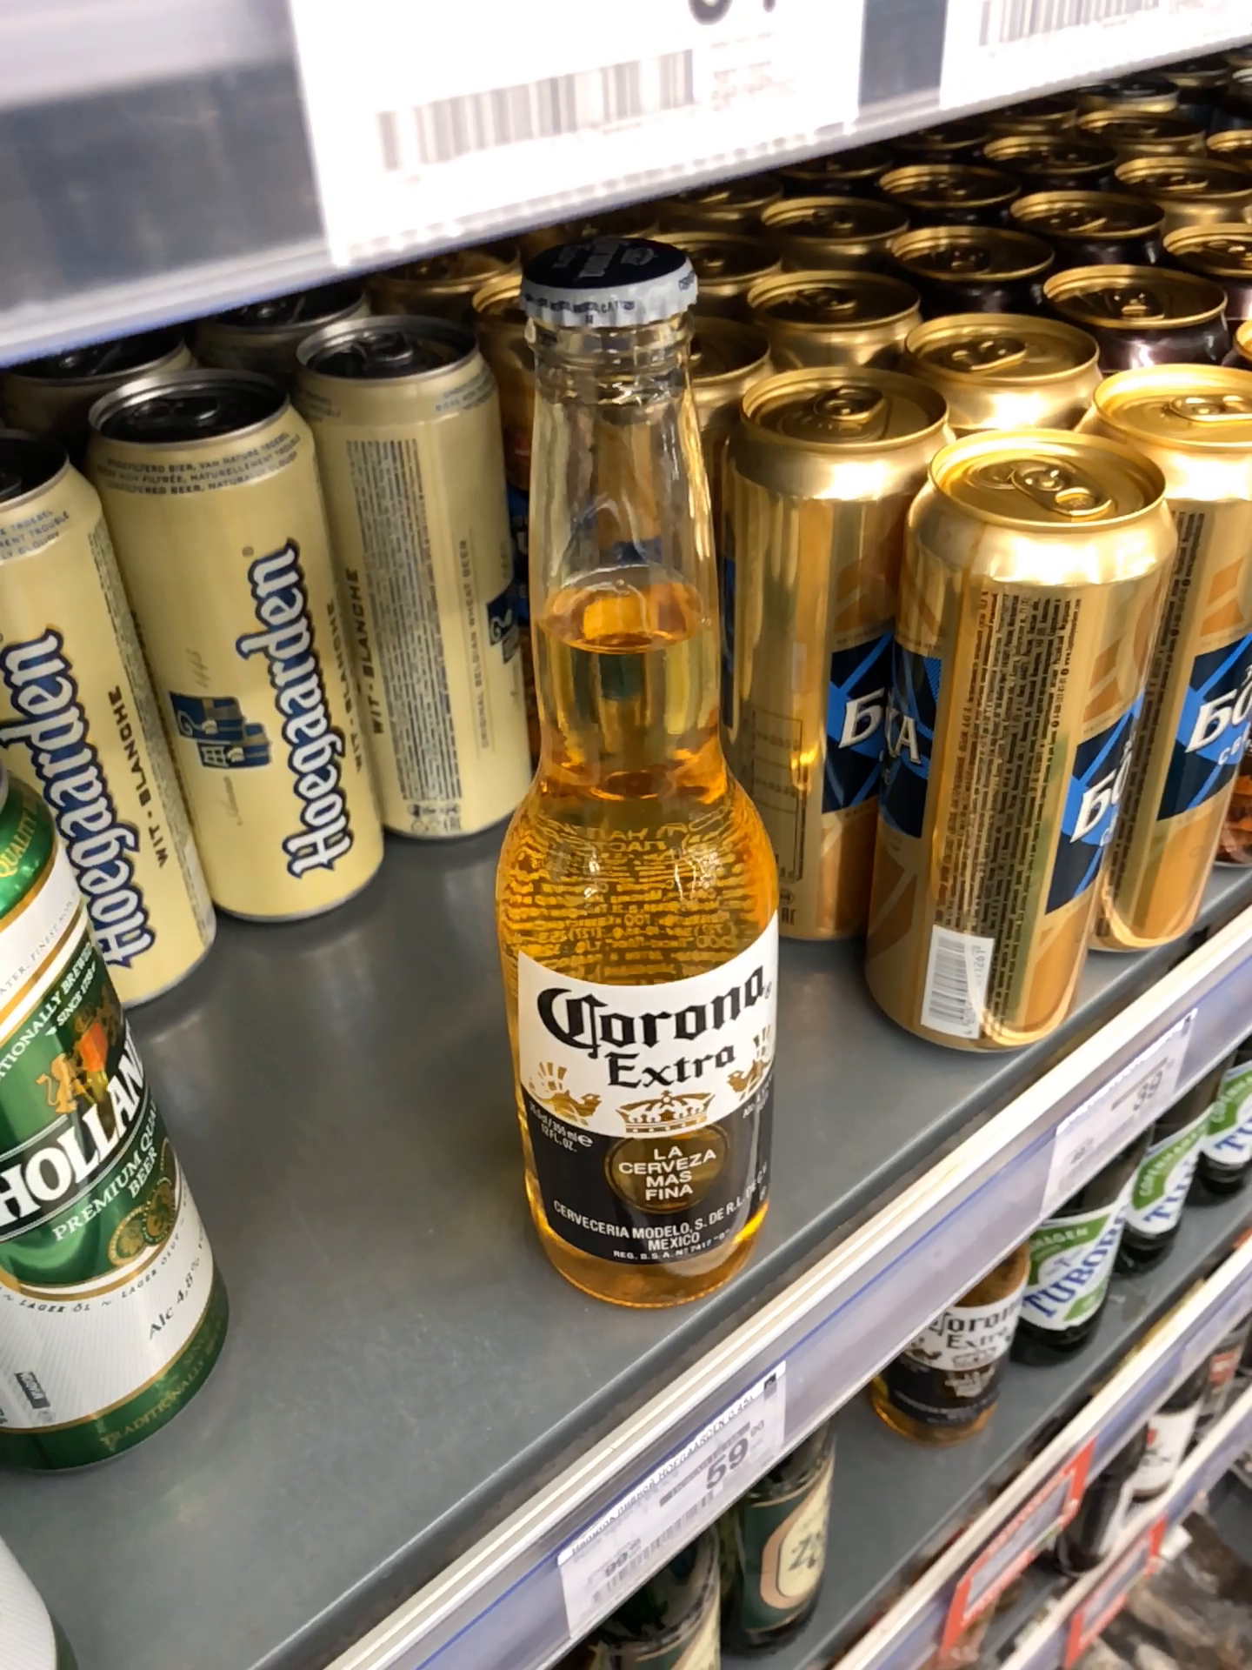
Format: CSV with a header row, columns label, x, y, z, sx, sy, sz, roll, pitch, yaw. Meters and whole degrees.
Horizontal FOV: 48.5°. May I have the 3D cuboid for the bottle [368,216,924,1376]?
label,x,y,z,sx,sy,sz,roll,pitch,yaw
bottle,0.003,0.011,0.283,0.070,0.237,0.060,-11,40,-11
